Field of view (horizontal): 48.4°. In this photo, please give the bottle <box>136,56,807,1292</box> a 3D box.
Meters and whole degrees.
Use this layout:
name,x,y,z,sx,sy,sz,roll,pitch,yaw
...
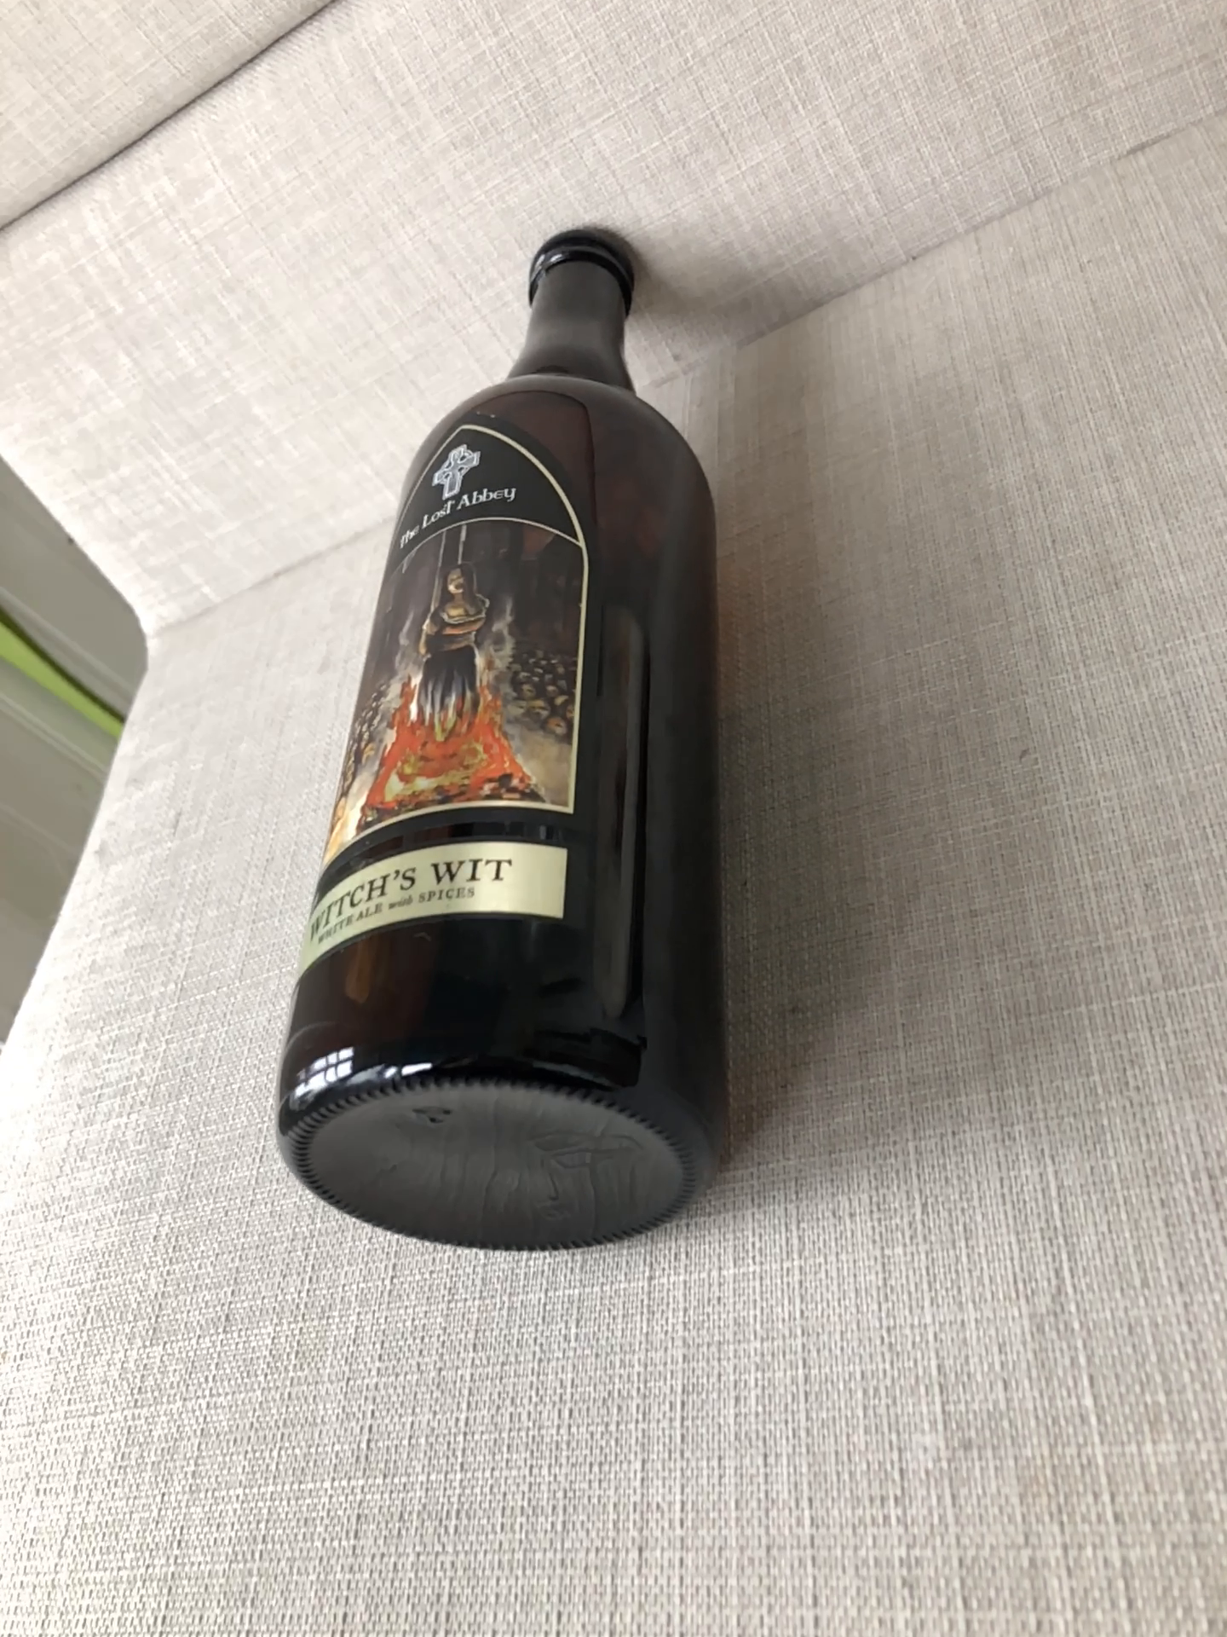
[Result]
name,x,y,z,sx,sy,sz,roll,pitch,yaw
bottle,-0.019,-0.051,0.311,0.080,0.079,0.282,-19,49,25
